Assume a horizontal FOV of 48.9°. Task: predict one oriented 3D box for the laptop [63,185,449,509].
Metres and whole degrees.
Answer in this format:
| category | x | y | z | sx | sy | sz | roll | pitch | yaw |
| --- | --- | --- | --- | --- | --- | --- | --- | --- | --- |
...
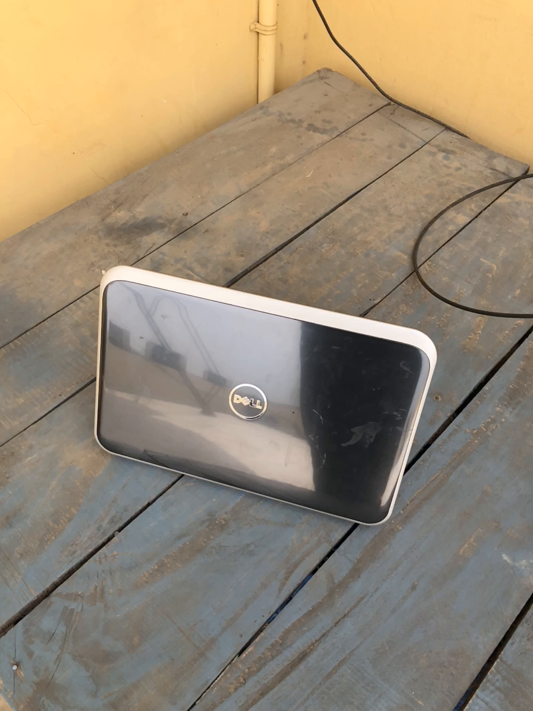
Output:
| category | x | y | z | sx | sy | sz | roll | pitch | yaw |
| --- | --- | --- | --- | --- | --- | --- | --- | --- | --- |
| laptop | -0.001 | -0.012 | 0.685 | 0.347 | 0.206 | 0.216 | 14 | 55 | 10 |
